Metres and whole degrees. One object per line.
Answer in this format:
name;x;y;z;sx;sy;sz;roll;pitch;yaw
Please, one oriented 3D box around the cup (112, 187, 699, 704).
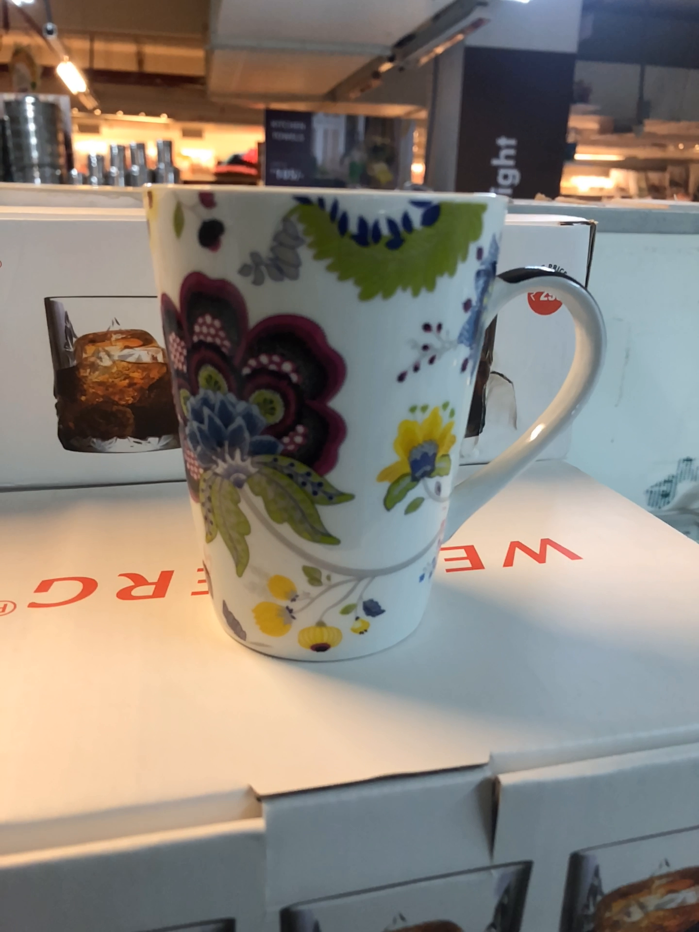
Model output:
cup;0.008;-0.016;0.202;0.120;0.100;0.080;-5;19;-23
